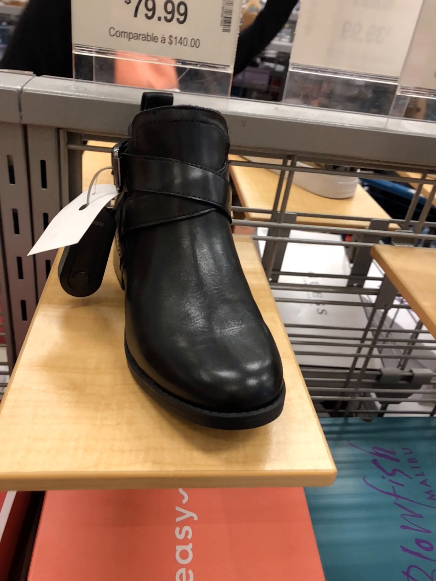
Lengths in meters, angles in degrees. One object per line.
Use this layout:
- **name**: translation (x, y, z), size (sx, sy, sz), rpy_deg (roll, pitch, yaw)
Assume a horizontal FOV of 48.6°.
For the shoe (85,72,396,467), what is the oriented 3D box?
- **shoe**: translation (-0.019, -0.036, 0.295), size (0.090, 0.133, 0.221), rpy_deg (-5, 35, -22)
